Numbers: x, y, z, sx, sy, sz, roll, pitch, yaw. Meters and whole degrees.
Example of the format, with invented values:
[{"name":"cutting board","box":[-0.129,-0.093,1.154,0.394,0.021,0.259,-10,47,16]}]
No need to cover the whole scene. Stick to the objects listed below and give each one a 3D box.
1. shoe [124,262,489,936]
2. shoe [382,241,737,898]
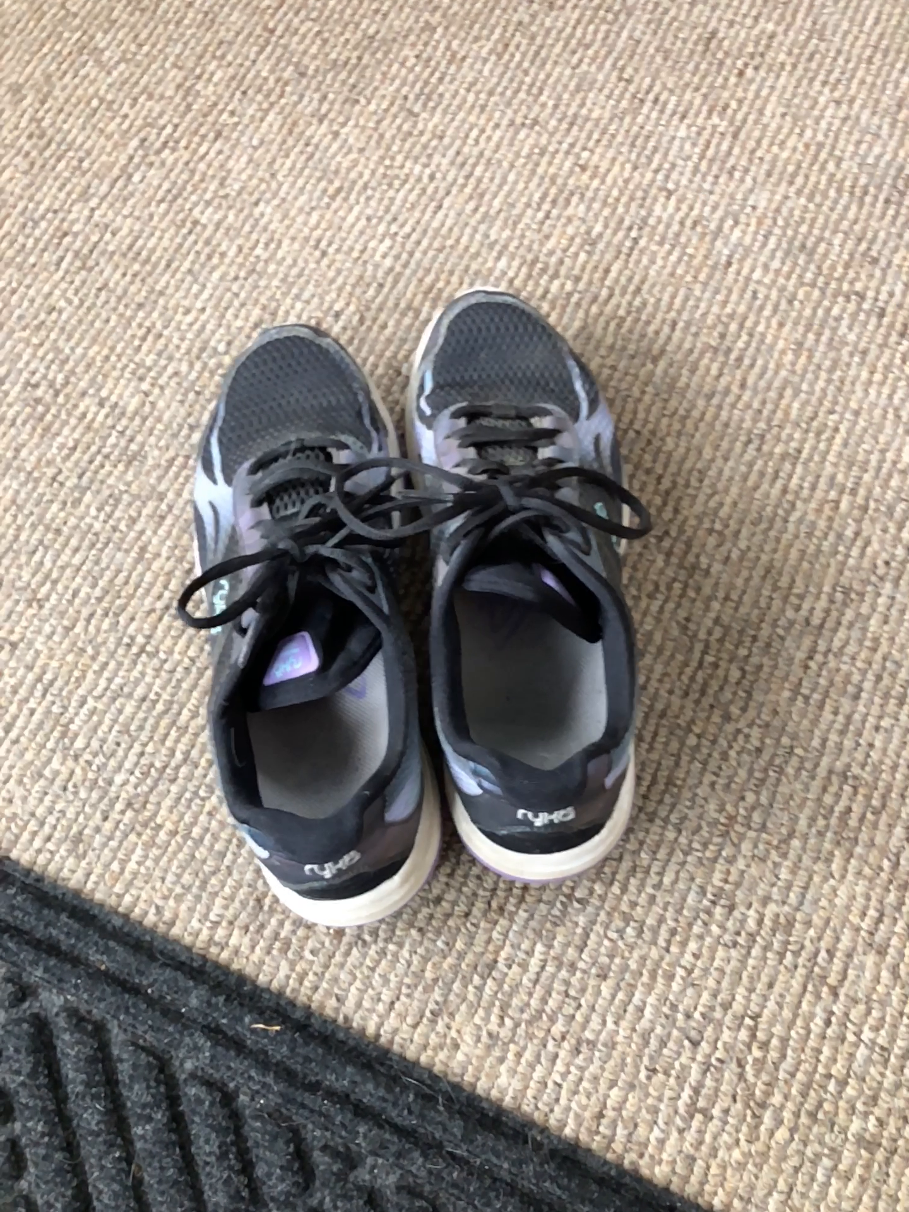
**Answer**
[{"name":"shoe","box":[-0.063,-0.001,0.435,0.110,0.104,0.257,-10,71,-2]},{"name":"shoe","box":[0.034,-0.014,0.438,0.102,0.104,0.257,-6,71,-1]}]
